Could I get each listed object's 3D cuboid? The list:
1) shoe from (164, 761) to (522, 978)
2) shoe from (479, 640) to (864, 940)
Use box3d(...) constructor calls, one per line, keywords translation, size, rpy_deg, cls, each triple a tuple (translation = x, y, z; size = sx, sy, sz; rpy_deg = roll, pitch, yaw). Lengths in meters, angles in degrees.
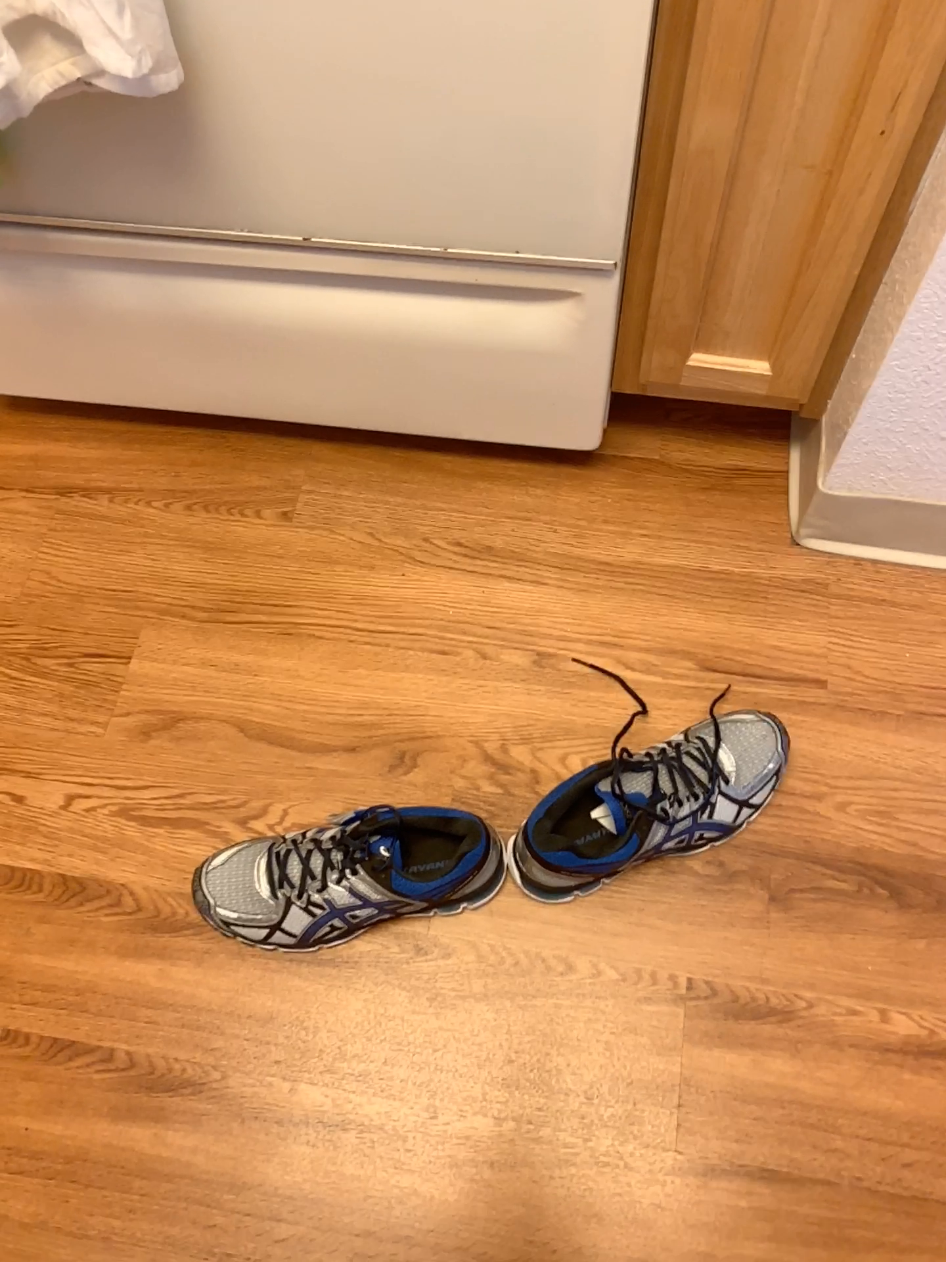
box3d(translation=(-0.114, 0.223, 0.892), size=(0.300, 0.120, 0.120), rpy_deg=(-10, 64, -2), cls="shoe")
box3d(translation=(0.182, 0.151, 0.920), size=(0.330, 0.110, 0.120), rpy_deg=(-26, 65, -9), cls="shoe")
